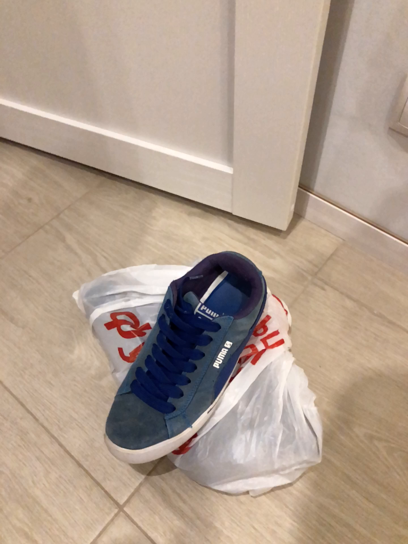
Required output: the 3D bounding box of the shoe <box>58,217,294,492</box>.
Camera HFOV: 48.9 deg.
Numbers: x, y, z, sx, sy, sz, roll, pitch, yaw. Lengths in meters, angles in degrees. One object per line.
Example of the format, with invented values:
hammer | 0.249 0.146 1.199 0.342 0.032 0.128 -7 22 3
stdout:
shoe | -0.013 0.082 0.540 0.110 0.099 0.301 24 59 27
